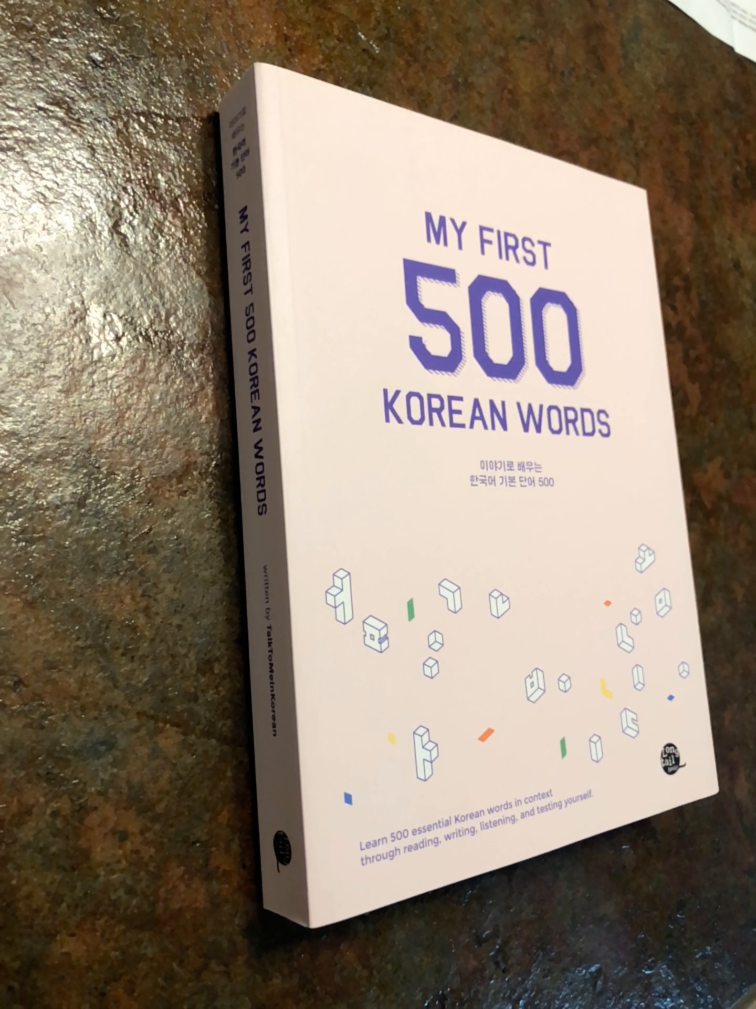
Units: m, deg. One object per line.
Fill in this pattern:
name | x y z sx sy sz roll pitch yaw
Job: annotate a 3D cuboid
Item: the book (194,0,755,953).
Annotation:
book | 0.044 -0.015 0.264 0.191 0.030 0.230 0 82 -36
